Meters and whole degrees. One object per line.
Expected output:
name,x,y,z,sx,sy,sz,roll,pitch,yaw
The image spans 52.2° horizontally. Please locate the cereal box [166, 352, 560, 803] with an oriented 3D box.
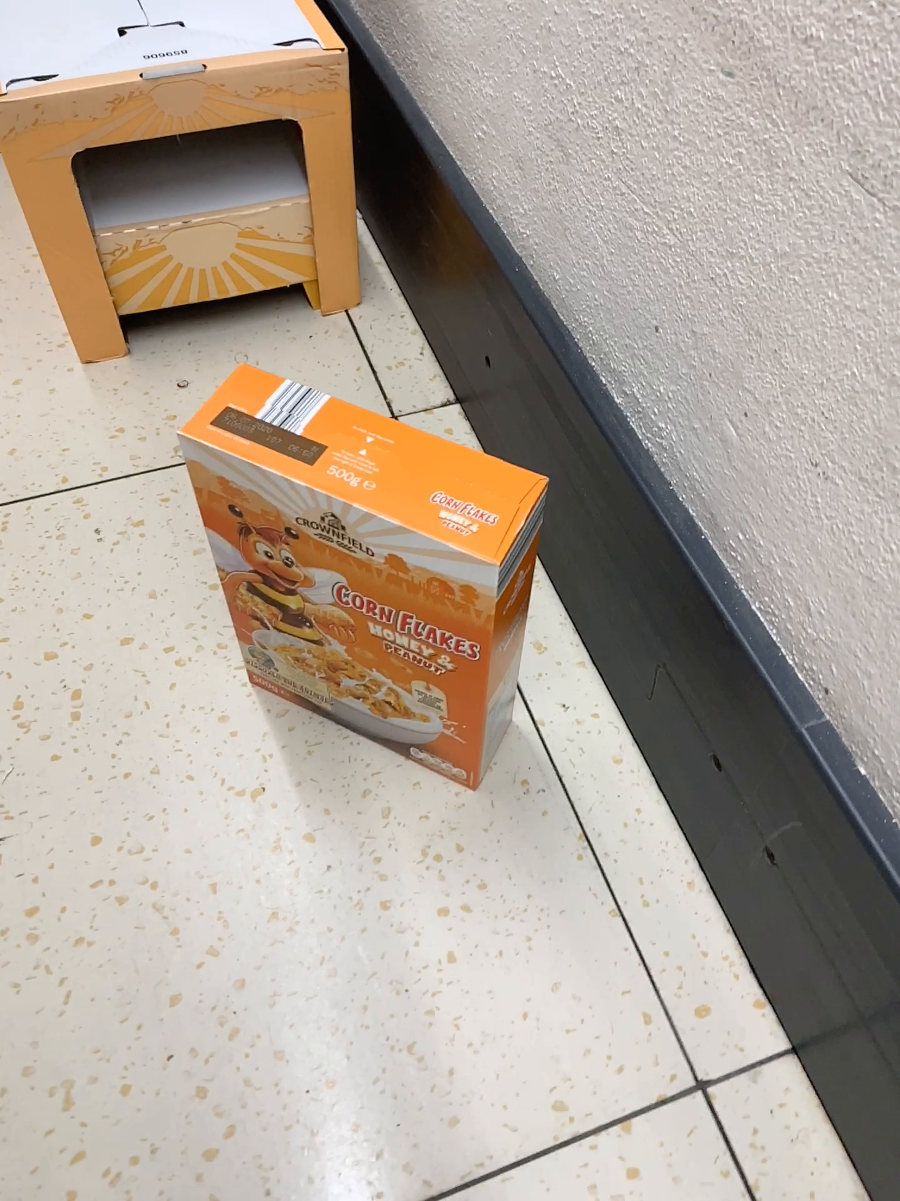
cereal box,-0.051,0.000,0.593,0.200,0.268,0.070,24,56,15
